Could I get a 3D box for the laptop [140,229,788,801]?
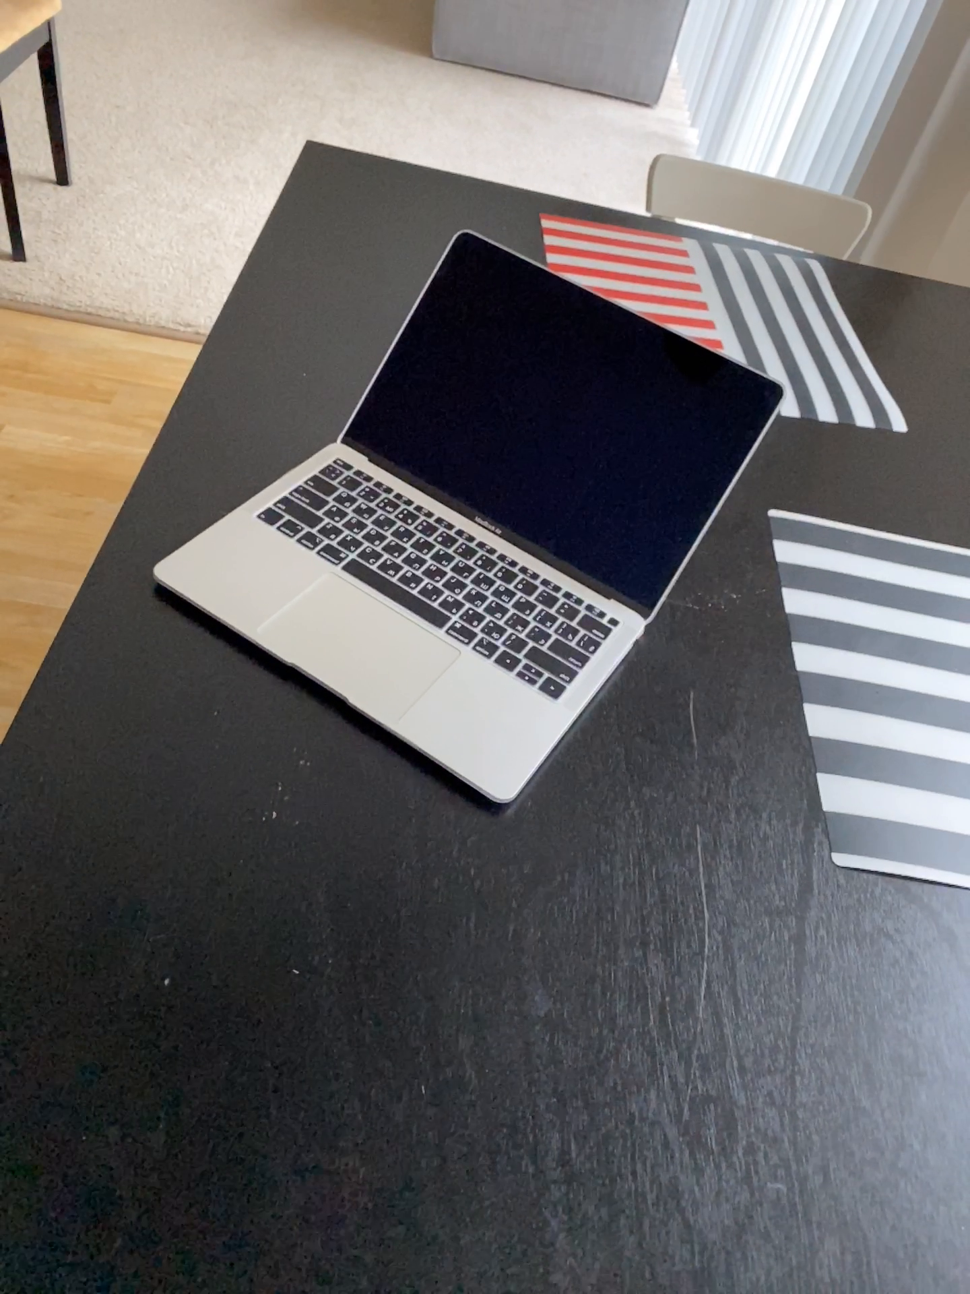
[{"bbox_3d":[-0.001,-0.126,0.718,0.297,0.139,0.362,31,49,14],"label":"laptop"}]
